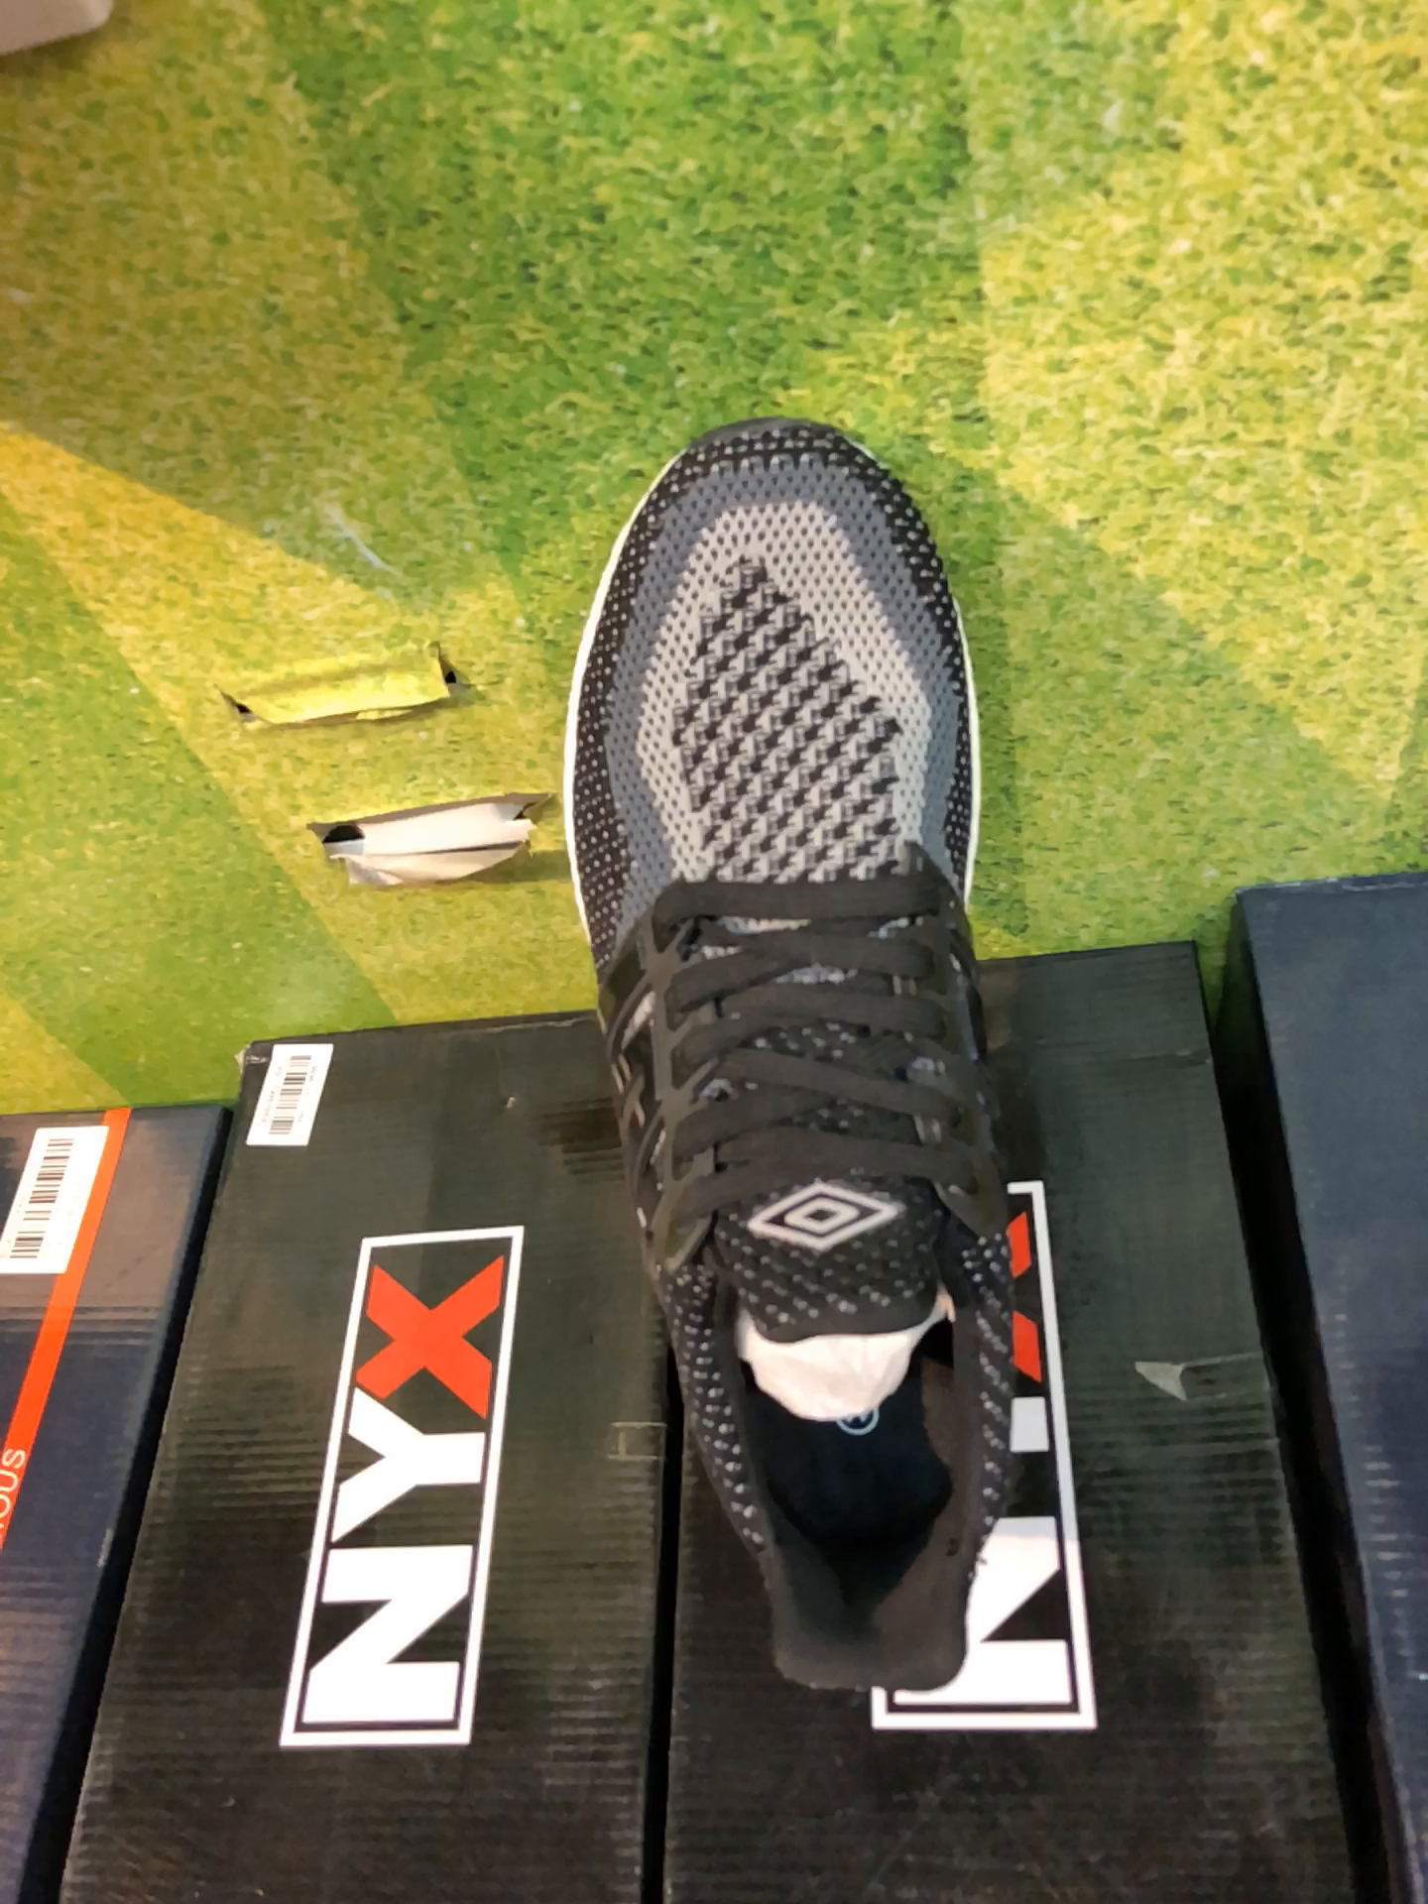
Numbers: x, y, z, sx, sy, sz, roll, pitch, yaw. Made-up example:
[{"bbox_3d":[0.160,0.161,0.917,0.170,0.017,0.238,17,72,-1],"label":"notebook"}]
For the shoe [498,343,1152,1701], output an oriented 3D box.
[{"bbox_3d":[0.025,0.013,0.378,0.110,0.122,0.269,-5,97,0],"label":"shoe"}]
